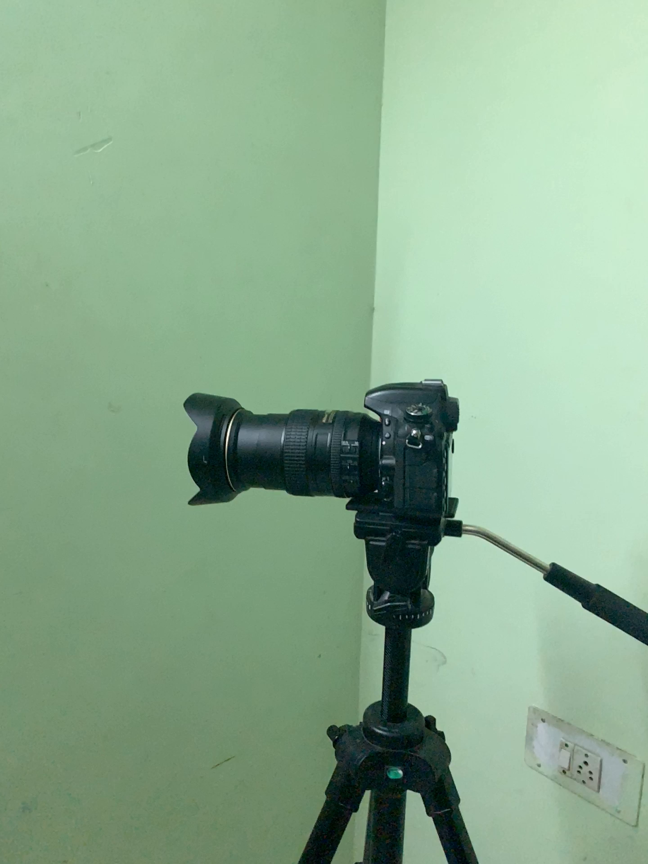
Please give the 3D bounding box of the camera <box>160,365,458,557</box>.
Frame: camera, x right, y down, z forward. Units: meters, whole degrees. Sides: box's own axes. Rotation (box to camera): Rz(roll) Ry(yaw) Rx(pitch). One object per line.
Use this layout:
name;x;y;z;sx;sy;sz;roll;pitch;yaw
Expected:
camera;-0.005;0.015;0.644;0.250;0.132;0.164;4;12;13
